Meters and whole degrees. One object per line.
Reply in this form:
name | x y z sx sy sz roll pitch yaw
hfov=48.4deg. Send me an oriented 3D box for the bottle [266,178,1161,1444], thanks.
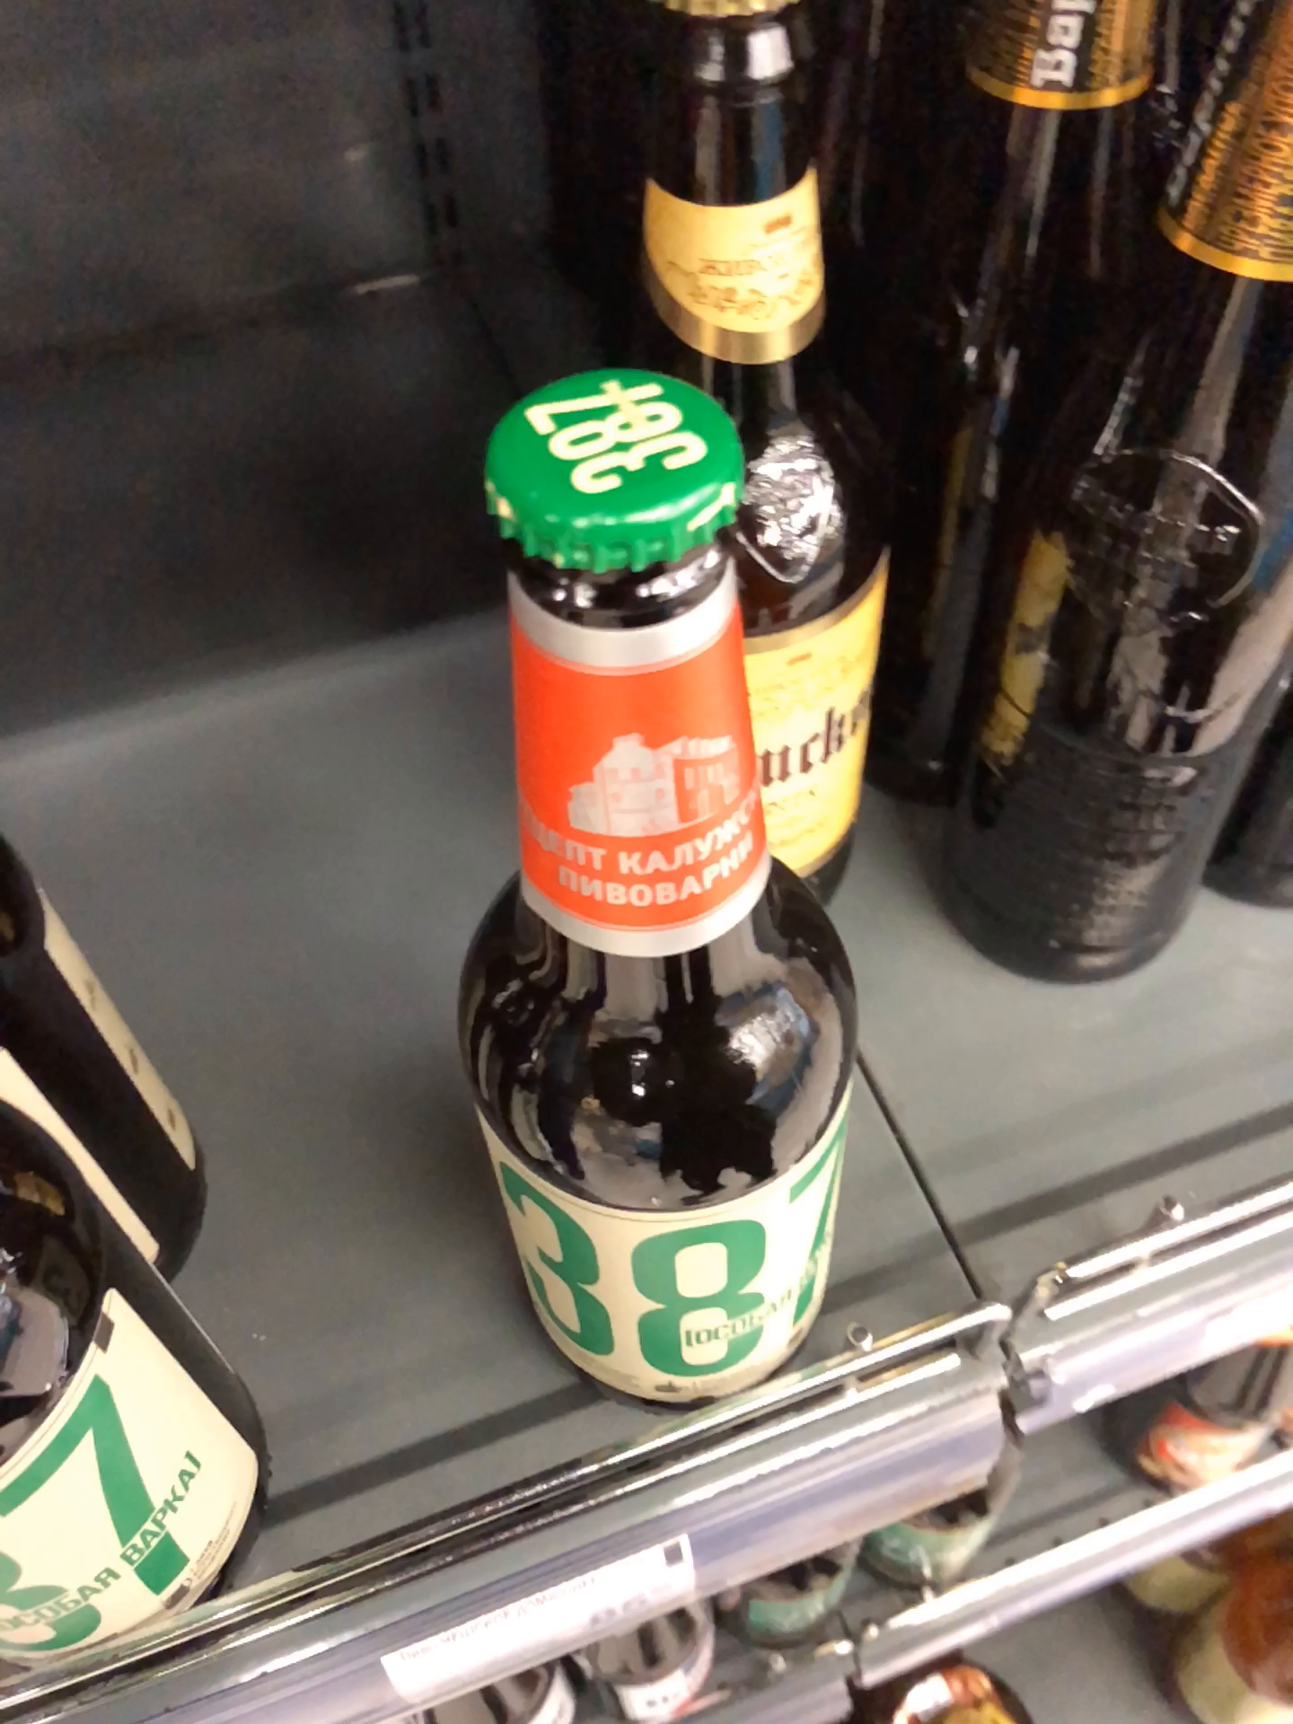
bottle | 0.006 0.021 0.240 0.080 0.229 0.070 -9 53 -4
